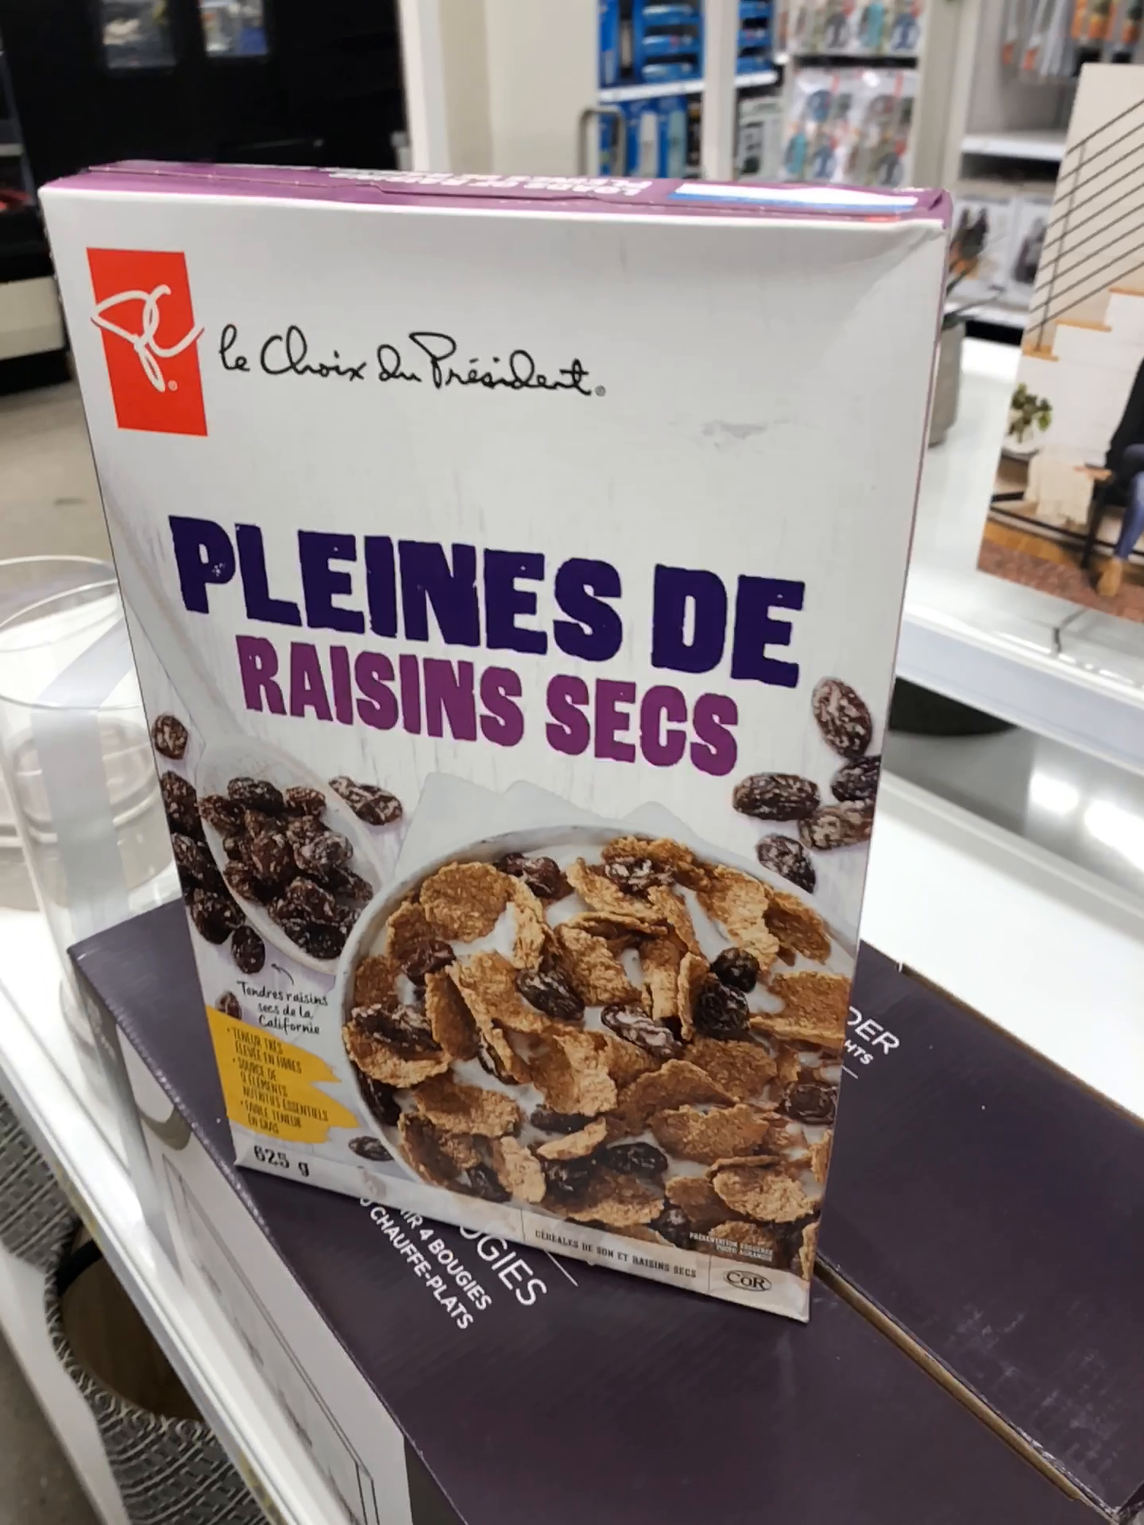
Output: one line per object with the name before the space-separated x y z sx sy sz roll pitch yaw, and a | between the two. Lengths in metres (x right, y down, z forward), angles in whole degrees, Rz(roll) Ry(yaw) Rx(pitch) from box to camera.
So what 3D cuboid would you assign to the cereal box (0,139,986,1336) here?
cereal box | -0.019 0.005 0.338 0.200 0.299 0.060 9 33 16
